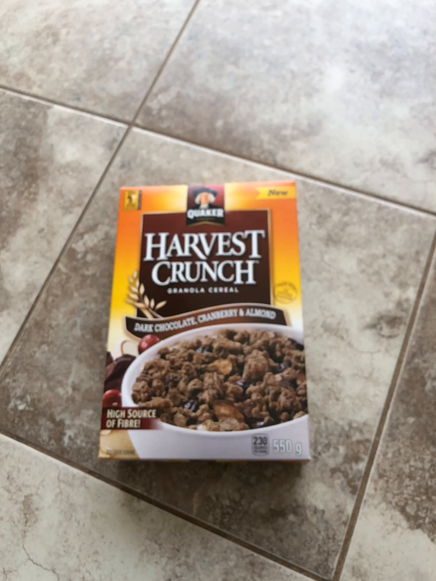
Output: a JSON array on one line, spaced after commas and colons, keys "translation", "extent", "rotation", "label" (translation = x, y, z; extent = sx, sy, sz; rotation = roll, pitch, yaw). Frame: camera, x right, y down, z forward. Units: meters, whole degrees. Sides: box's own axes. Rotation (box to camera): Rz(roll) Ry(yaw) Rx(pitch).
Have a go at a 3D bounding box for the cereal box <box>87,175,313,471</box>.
[{"translation": [-0.009, 0.027, 0.442], "extent": [0.170, 0.070, 0.250], "rotation": [0, 70, 5], "label": "cereal box"}]
